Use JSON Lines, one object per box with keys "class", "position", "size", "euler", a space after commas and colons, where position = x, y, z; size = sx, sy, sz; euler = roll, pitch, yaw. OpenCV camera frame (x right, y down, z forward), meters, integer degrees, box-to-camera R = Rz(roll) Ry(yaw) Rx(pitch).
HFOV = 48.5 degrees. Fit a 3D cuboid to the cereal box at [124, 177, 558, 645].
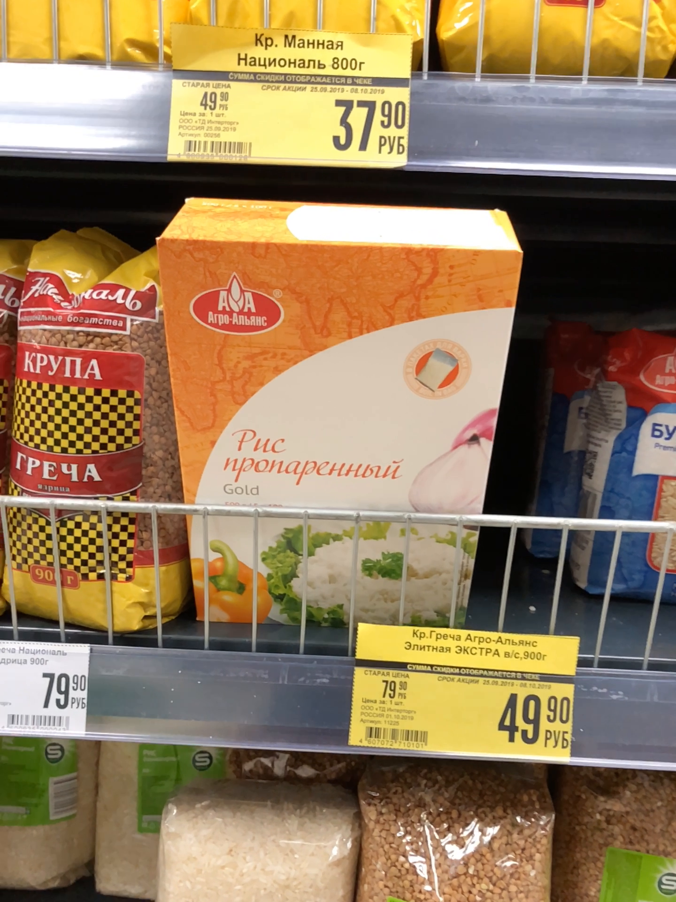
{"class": "cereal box", "position": [-0.001, -0.009, 0.319], "size": [0.140, 0.189, 0.060], "euler": [2, 33, 0]}
